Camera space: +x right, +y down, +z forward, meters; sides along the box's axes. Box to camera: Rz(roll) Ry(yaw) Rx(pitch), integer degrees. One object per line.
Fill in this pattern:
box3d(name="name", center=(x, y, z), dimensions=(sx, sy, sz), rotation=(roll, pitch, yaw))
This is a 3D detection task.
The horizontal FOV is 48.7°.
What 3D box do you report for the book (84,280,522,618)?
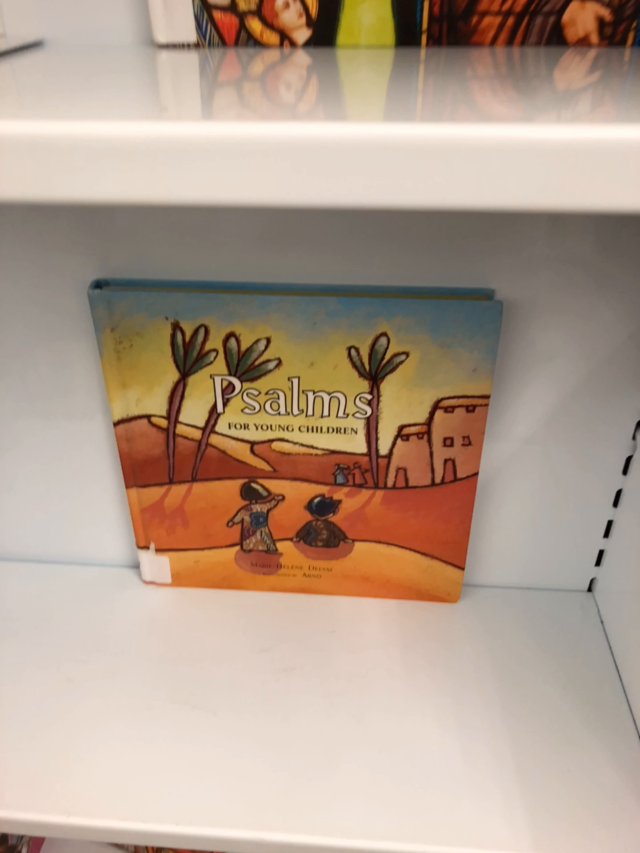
box3d(name="book", center=(-0.010, 0.022, 0.403), dimensions=(0.212, 0.205, 0.021), rotation=(3, 32, 4))
